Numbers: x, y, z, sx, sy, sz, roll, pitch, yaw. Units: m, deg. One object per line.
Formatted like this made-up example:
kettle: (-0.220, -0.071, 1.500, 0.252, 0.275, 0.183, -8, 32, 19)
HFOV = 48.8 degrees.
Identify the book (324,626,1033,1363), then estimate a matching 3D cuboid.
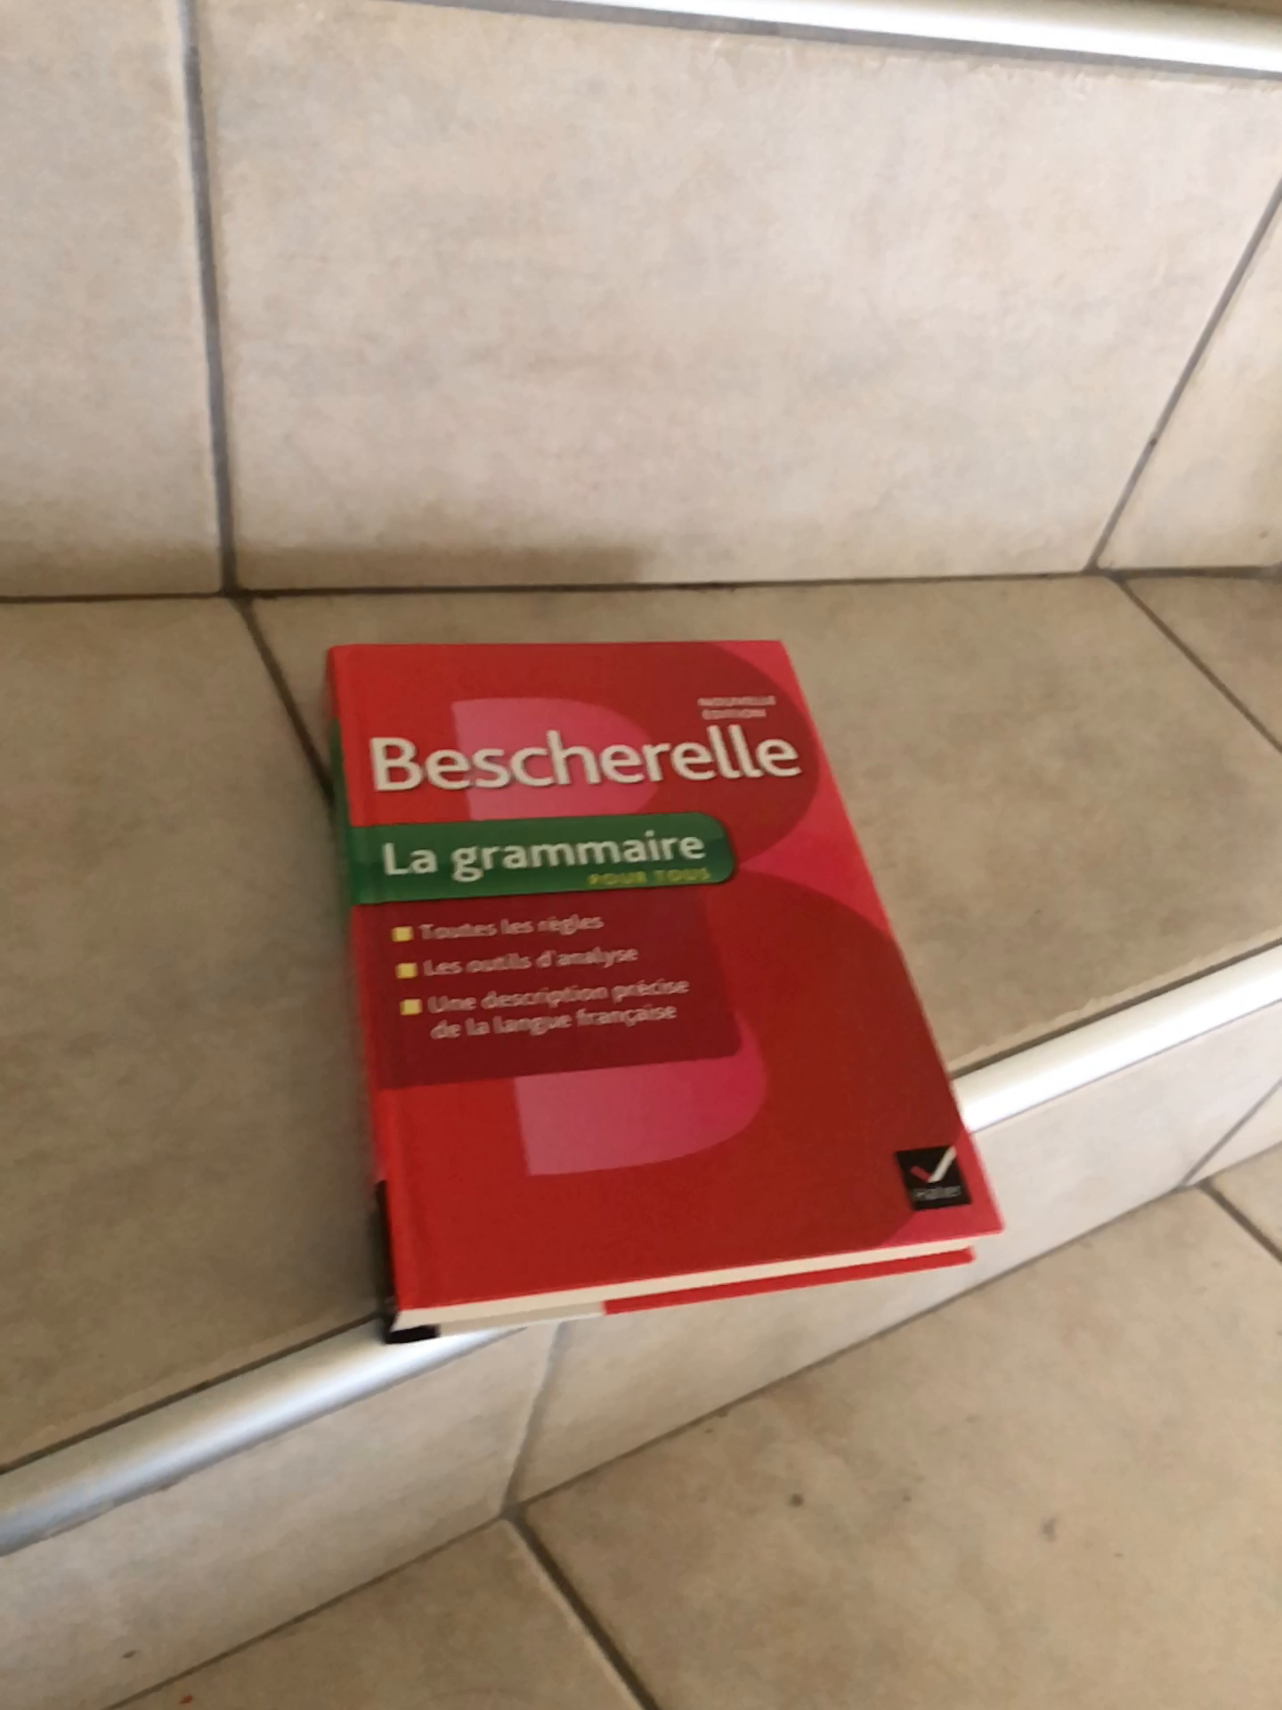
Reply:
book: (-0.003, 0.017, 0.366, 0.143, 0.020, 0.202, -3, 52, -15)
